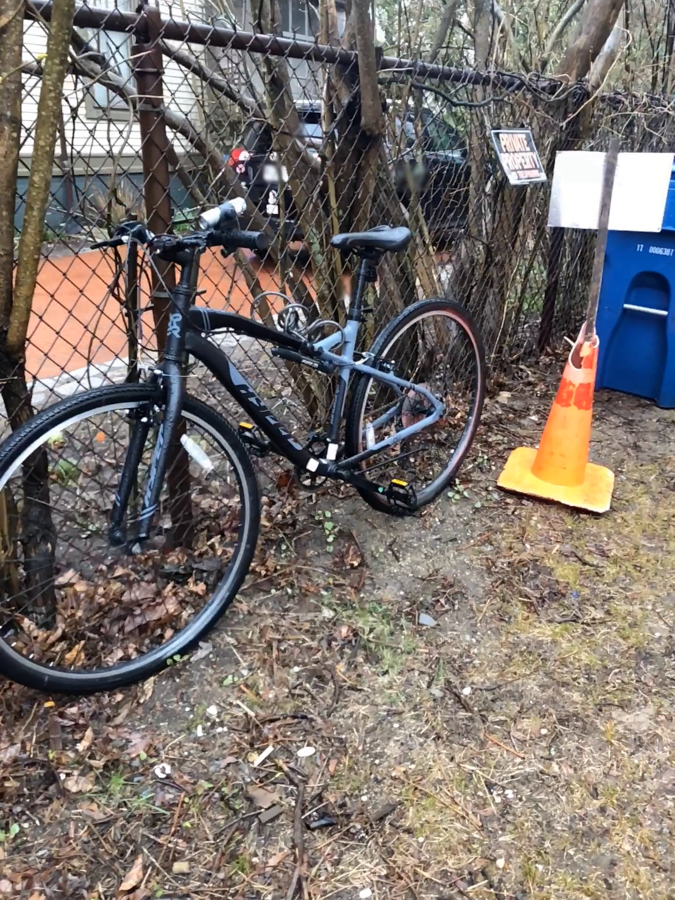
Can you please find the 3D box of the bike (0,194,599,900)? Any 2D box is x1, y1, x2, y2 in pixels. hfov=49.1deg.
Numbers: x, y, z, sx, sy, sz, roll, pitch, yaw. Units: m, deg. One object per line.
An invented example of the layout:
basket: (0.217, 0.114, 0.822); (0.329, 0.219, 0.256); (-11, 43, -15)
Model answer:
bike: (-0.024, 0.019, 2.023); (0.537, 1.067, 1.892); (20, 33, 37)
